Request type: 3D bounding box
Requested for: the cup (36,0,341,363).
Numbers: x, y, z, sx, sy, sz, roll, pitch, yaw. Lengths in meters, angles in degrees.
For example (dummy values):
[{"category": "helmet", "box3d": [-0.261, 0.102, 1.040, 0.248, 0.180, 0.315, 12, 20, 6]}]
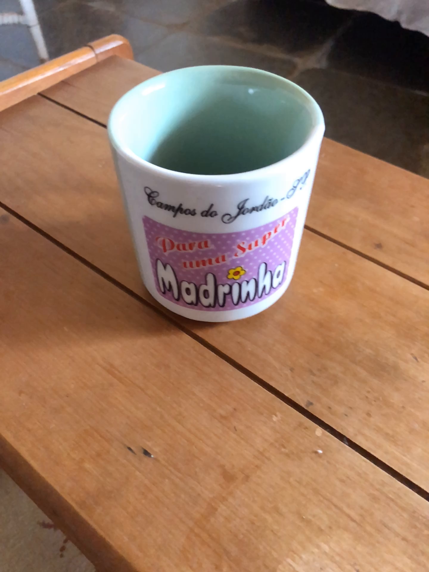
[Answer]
[{"category": "cup", "box3d": [-0.002, -0.050, 0.202, 0.080, 0.089, 0.131, 3, 50, 3]}]
